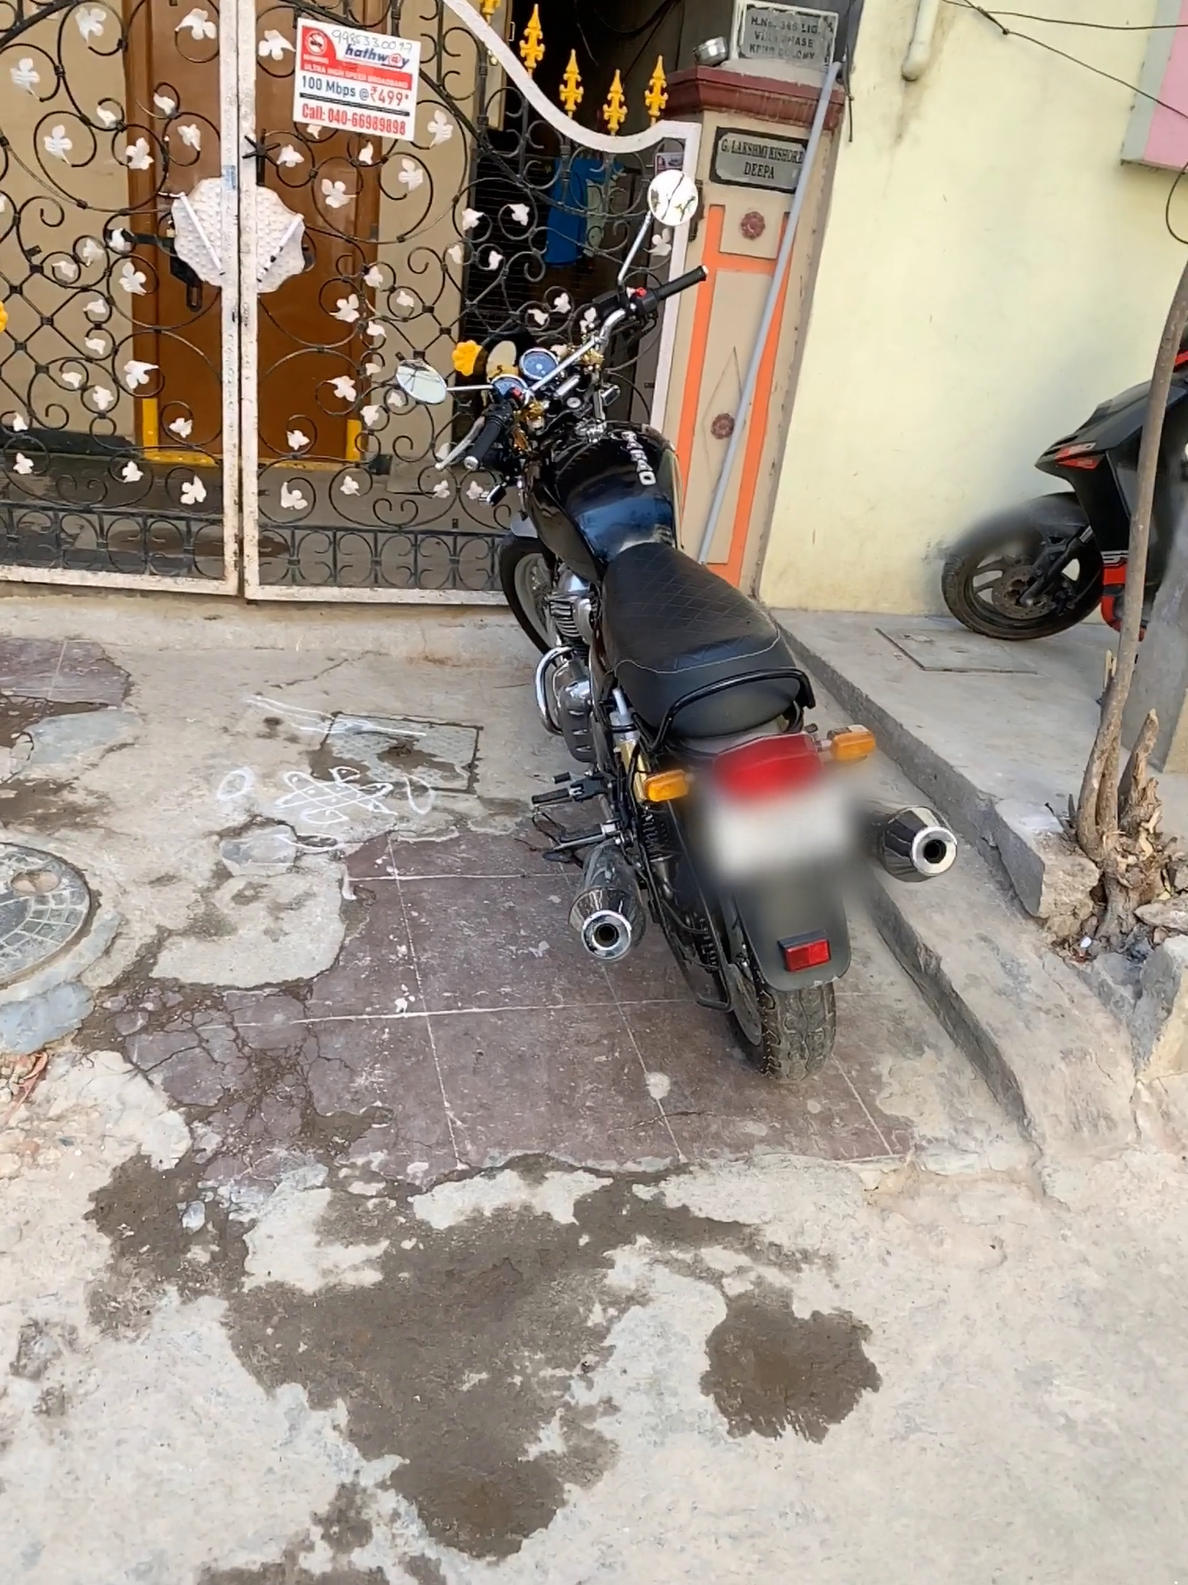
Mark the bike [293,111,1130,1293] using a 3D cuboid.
[{"bbox_3d":[-0.081,-0.401,2.509,0.791,1.522,1.912,-2,30,-21],"label":"bike"}]
